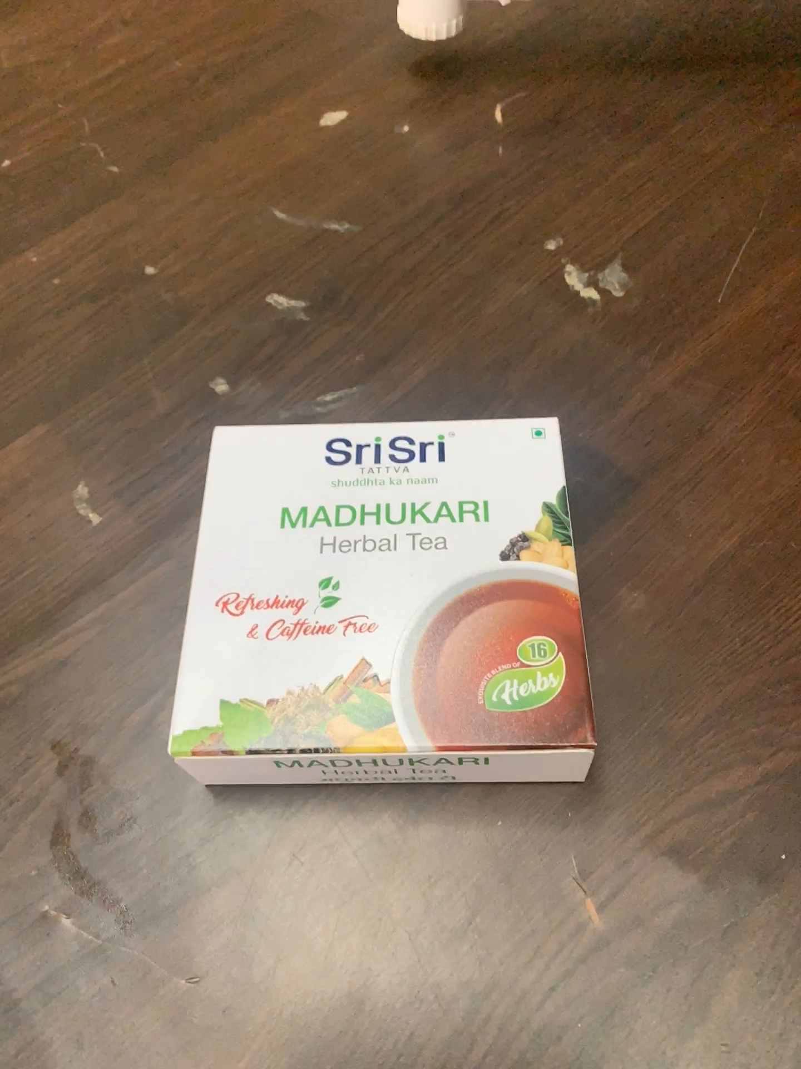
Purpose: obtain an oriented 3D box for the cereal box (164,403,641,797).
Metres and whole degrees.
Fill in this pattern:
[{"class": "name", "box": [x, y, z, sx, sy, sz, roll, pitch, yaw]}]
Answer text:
[{"class": "cereal box", "box": [0.001, 0.020, 0.272, 0.130, 0.040, 0.120, -1, 62, 4]}]
